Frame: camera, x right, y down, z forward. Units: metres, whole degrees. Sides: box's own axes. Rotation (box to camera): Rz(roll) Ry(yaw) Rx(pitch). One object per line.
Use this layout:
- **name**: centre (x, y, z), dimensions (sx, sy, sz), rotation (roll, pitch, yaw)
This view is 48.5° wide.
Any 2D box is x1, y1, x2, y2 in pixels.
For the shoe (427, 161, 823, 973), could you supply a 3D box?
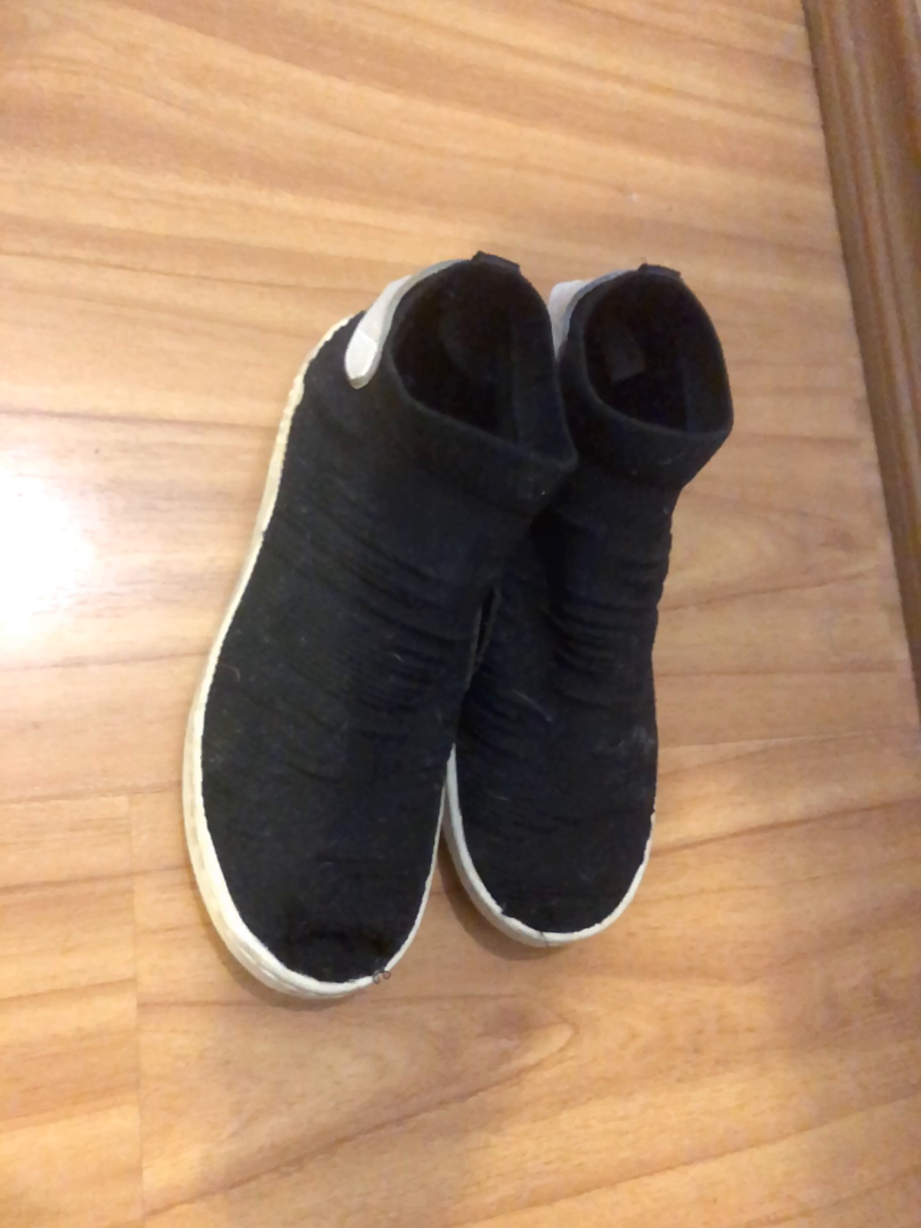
- **shoe**: centre (0.053, -0.013, 0.384), dimensions (0.100, 0.100, 0.260), rotation (4, 79, -23)

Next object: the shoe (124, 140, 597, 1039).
- **shoe**: centre (-0.034, -0.004, 0.353), dimensions (0.100, 0.100, 0.260), rotation (13, 75, -22)
